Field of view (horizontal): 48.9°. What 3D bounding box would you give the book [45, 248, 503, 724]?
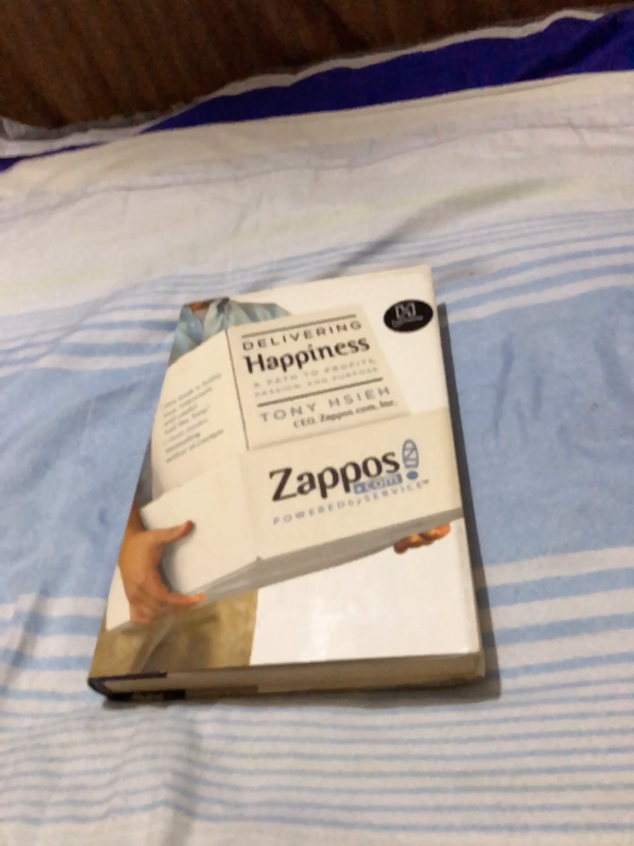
[{"bbox_3d":[-0.012,0.015,0.351,0.170,0.050,0.241,-7,46,11],"label":"book"}]
